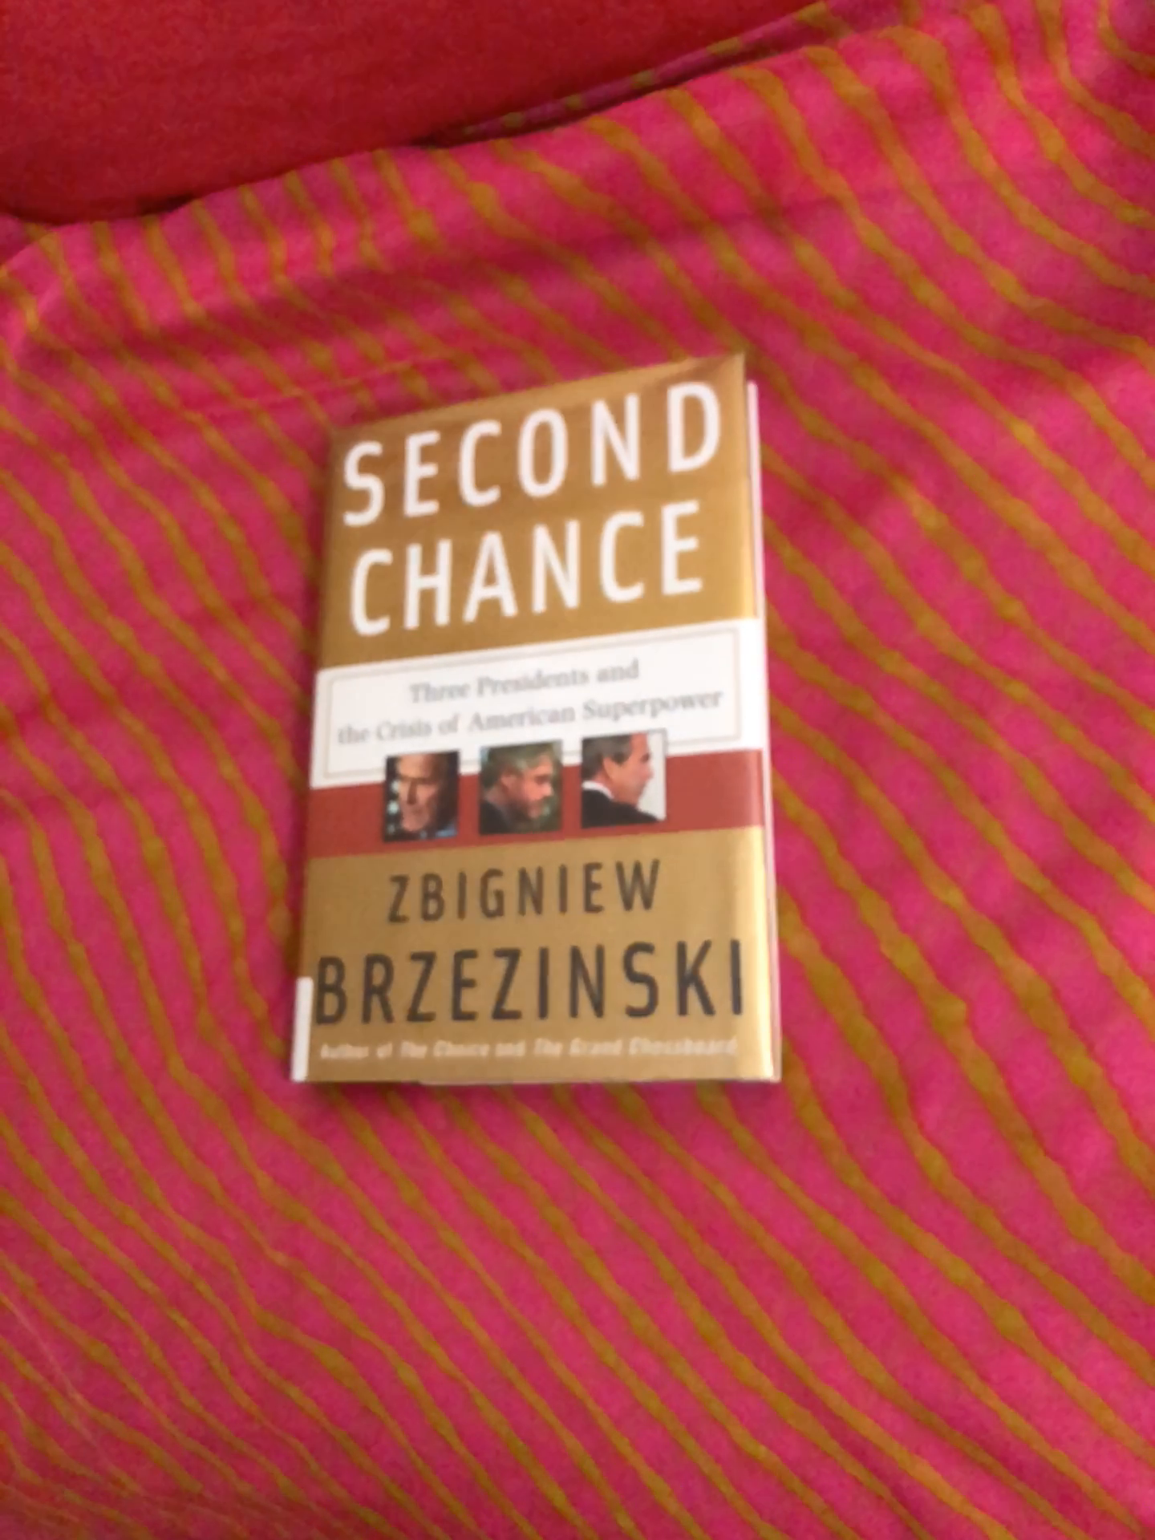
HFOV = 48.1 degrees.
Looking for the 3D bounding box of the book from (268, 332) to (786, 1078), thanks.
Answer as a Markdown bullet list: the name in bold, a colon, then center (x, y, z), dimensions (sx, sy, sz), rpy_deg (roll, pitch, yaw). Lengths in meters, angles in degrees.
- **book**: center (-0.016, -0.013, 0.378), dimensions (0.140, 0.037, 0.200), rpy_deg (-6, 75, 24)
